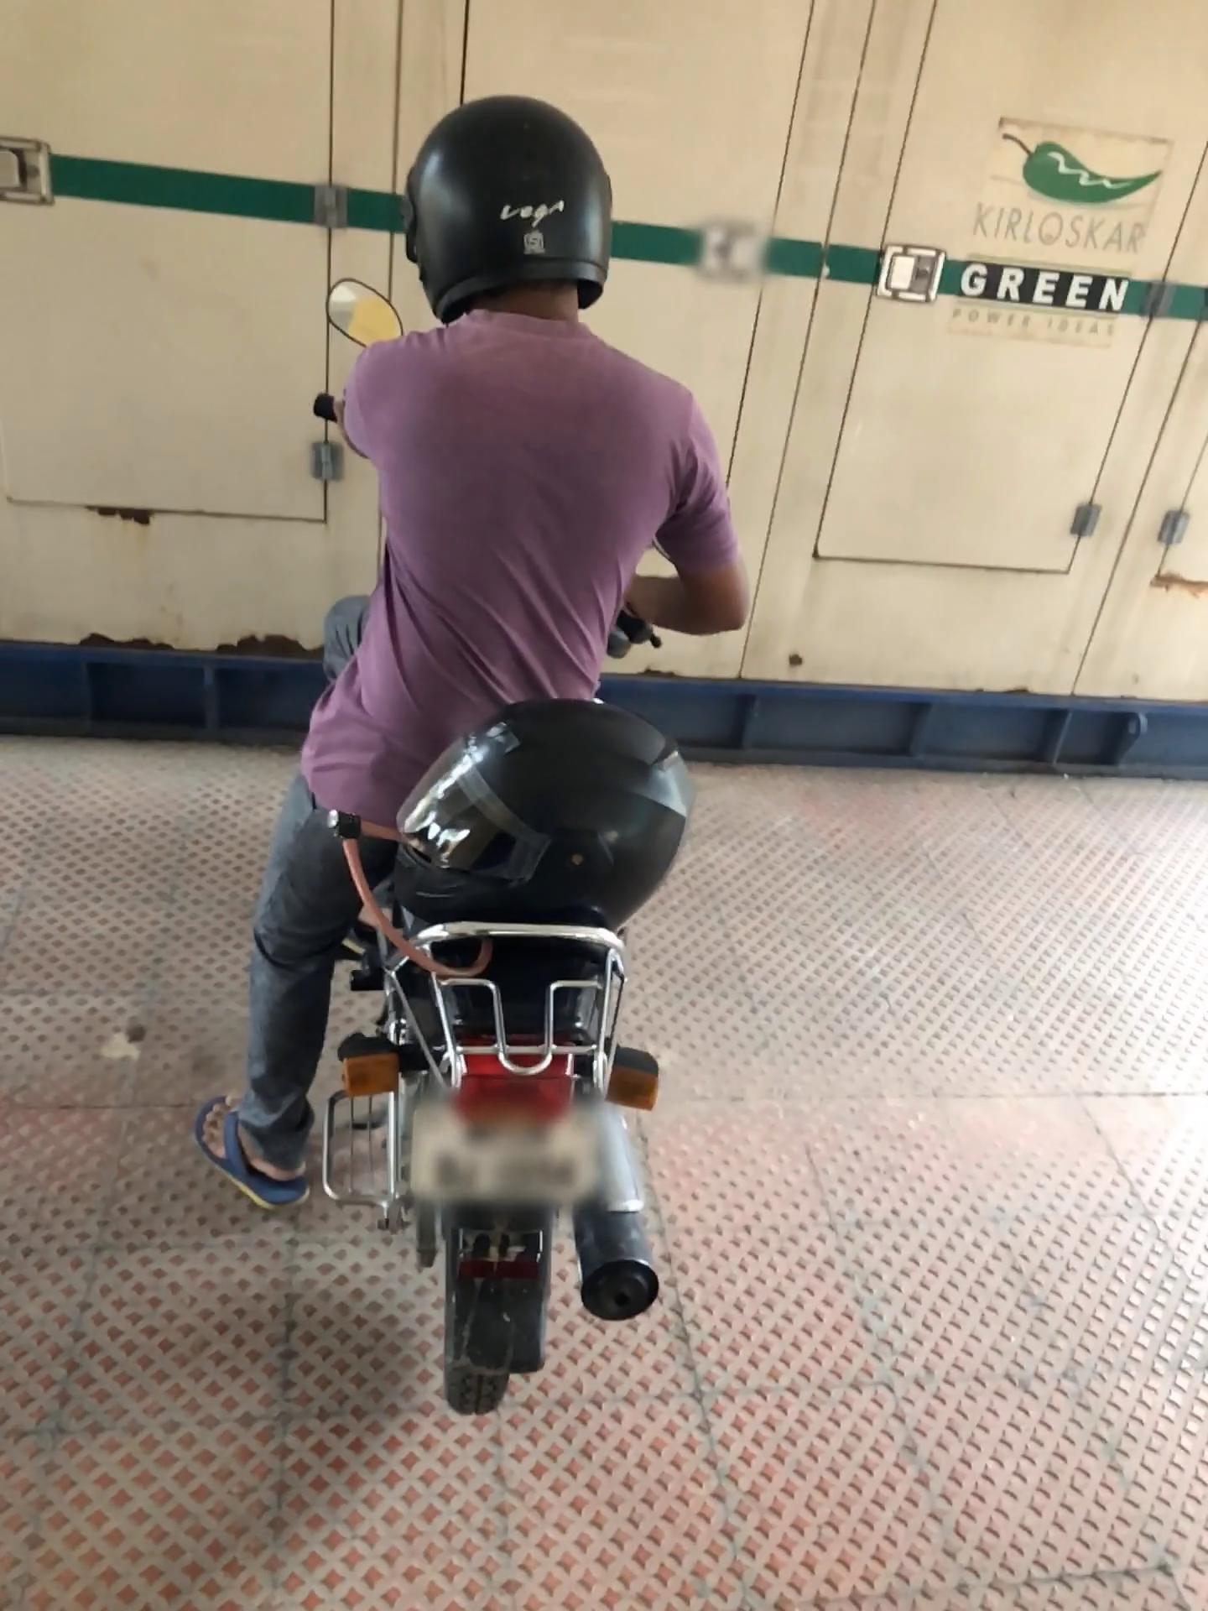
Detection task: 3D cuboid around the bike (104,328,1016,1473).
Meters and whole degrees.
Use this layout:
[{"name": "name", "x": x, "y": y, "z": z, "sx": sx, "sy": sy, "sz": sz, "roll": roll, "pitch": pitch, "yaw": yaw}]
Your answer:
[{"name": "bike", "x": -0.045, "y": -0.015, "z": 2.086, "sx": 0.814, "sy": 0.927, "sz": 1.604, "roll": 7, "pitch": 34, "yaw": -4}]
